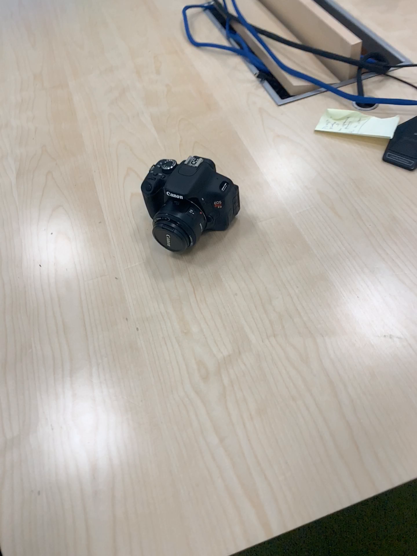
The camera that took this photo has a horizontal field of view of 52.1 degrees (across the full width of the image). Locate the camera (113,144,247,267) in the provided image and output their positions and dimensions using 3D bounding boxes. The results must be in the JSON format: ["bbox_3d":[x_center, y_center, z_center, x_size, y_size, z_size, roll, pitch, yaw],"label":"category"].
[{"bbox_3d":[-0.035,-0.109,0.623,0.140,0.080,0.131,18,59,20],"label":"camera"}]
